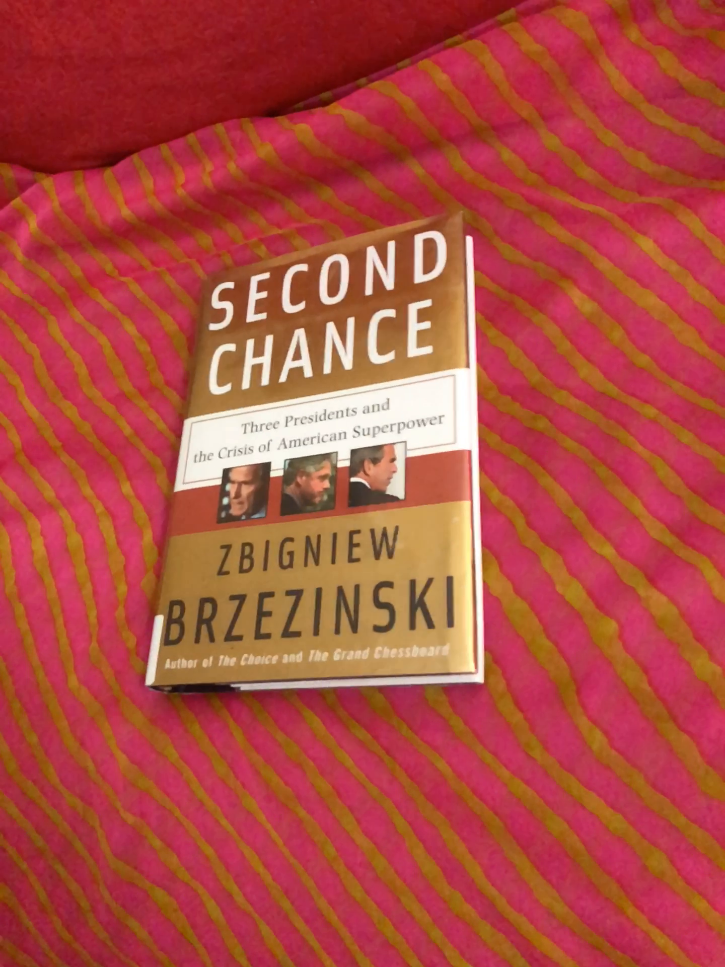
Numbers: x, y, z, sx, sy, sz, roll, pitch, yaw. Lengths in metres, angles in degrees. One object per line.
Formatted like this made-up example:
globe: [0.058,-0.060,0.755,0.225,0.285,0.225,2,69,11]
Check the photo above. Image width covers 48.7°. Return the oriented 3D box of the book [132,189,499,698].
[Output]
book: [-0.018,-0.015,0.345,0.141,0.037,0.200,-10,64,25]
